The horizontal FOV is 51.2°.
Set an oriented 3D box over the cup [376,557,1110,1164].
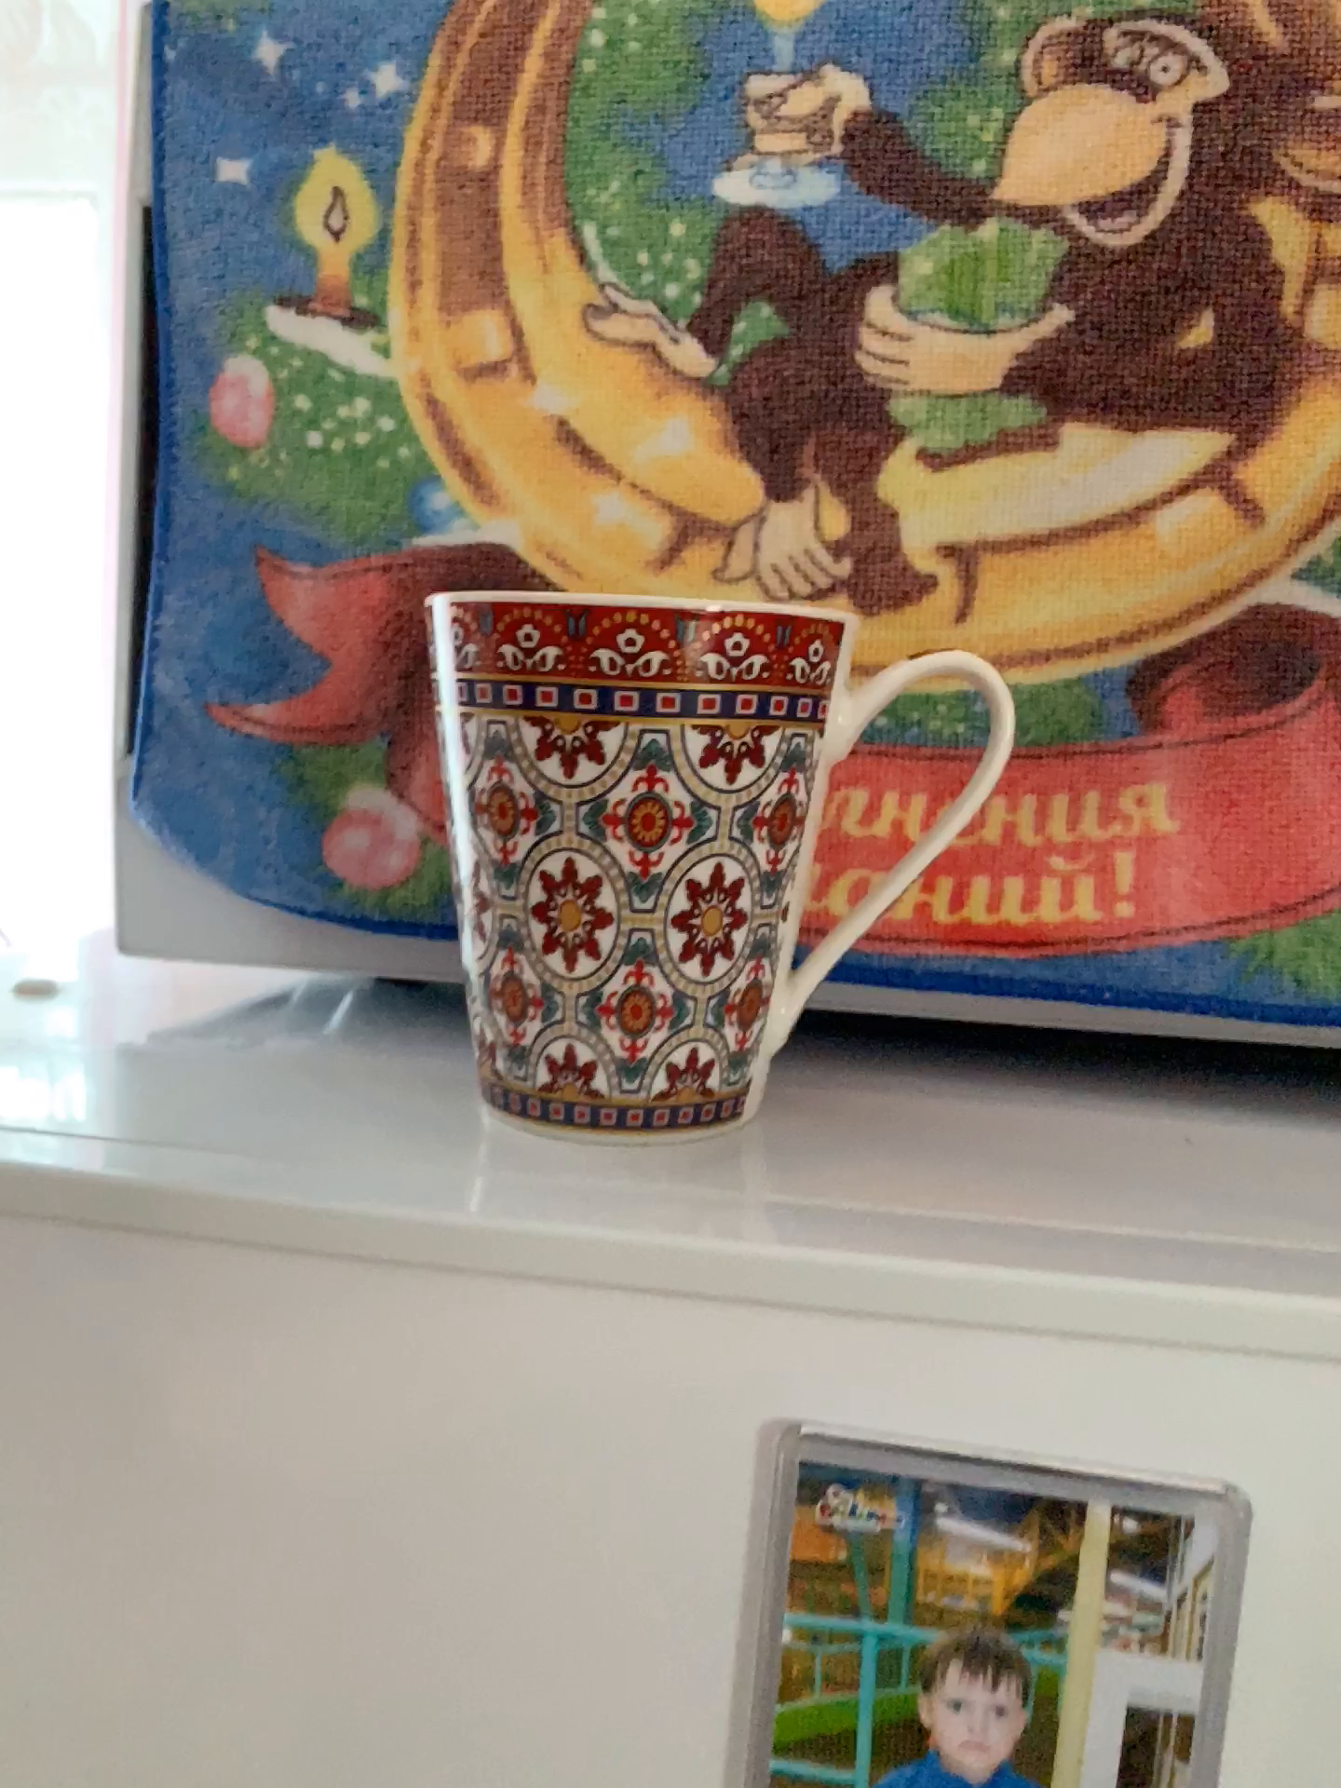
[{"bbox_3d":[0.012,-0.010,0.291,0.124,0.101,0.089,3,6,1],"label":"cup"}]
